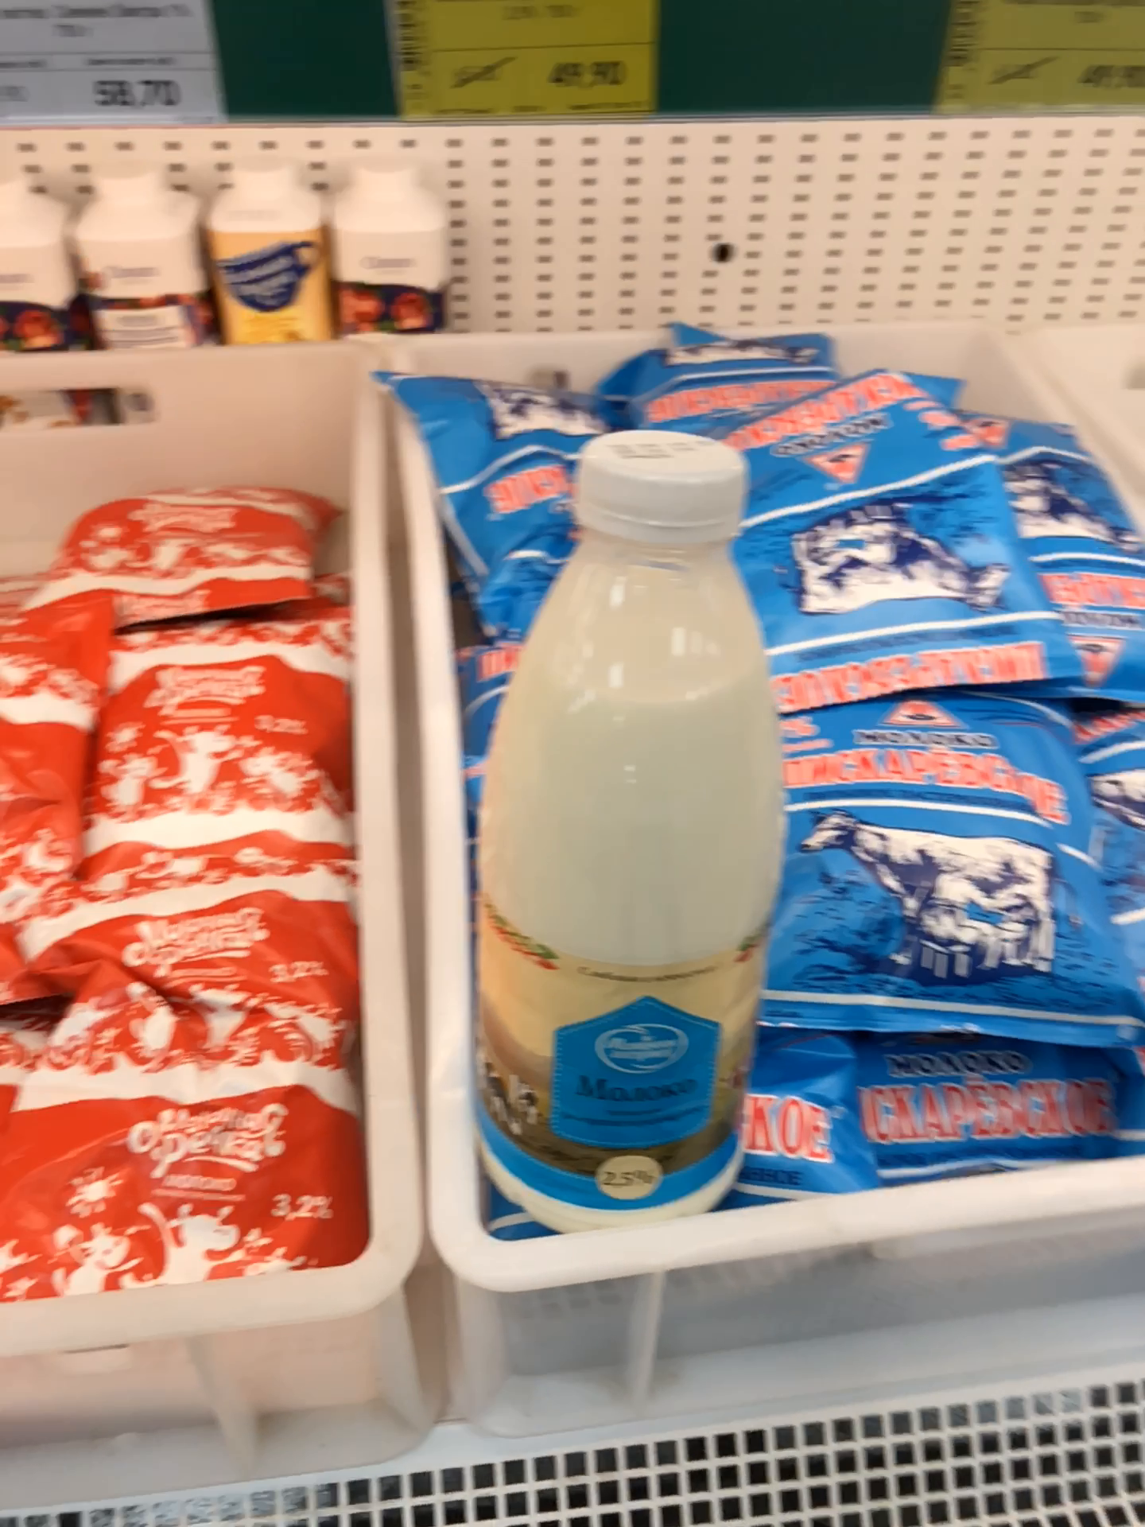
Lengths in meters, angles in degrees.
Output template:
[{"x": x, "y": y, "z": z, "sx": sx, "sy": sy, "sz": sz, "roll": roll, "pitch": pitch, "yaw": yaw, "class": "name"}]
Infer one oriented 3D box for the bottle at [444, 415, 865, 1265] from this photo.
[{"x": 0.015, "y": 0.026, "z": 0.364, "sx": 0.090, "sy": 0.229, "sz": 0.090, "roll": 0, "pitch": 28, "yaw": 0, "class": "bottle"}]
